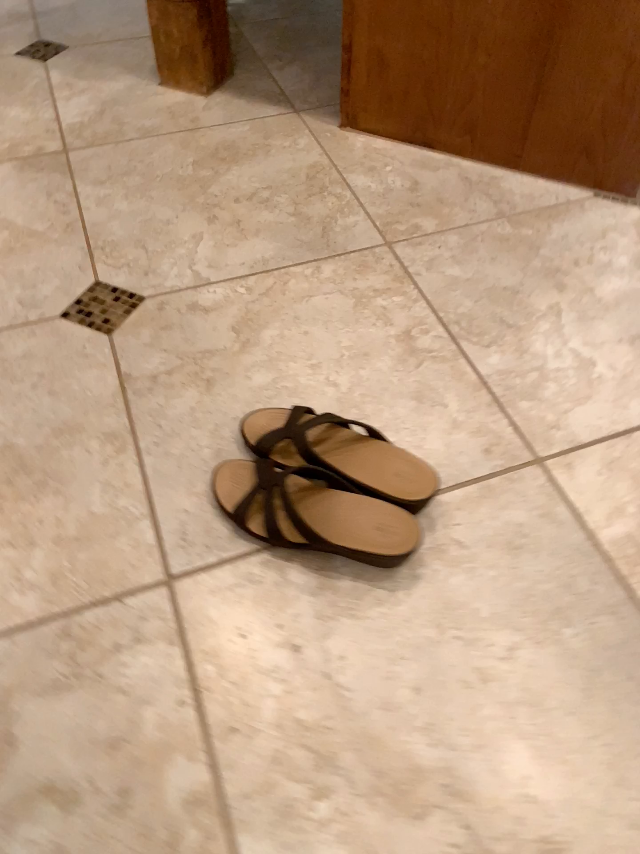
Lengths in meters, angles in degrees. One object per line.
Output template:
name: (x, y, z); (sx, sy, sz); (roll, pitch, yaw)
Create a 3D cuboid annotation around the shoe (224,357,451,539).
shoe: (0.020, 0.023, 0.839); (0.259, 0.092, 0.110); (24, 55, 17)

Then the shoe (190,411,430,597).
shoe: (-0.013, 0.091, 0.809); (0.264, 0.092, 0.110); (20, 54, 15)
